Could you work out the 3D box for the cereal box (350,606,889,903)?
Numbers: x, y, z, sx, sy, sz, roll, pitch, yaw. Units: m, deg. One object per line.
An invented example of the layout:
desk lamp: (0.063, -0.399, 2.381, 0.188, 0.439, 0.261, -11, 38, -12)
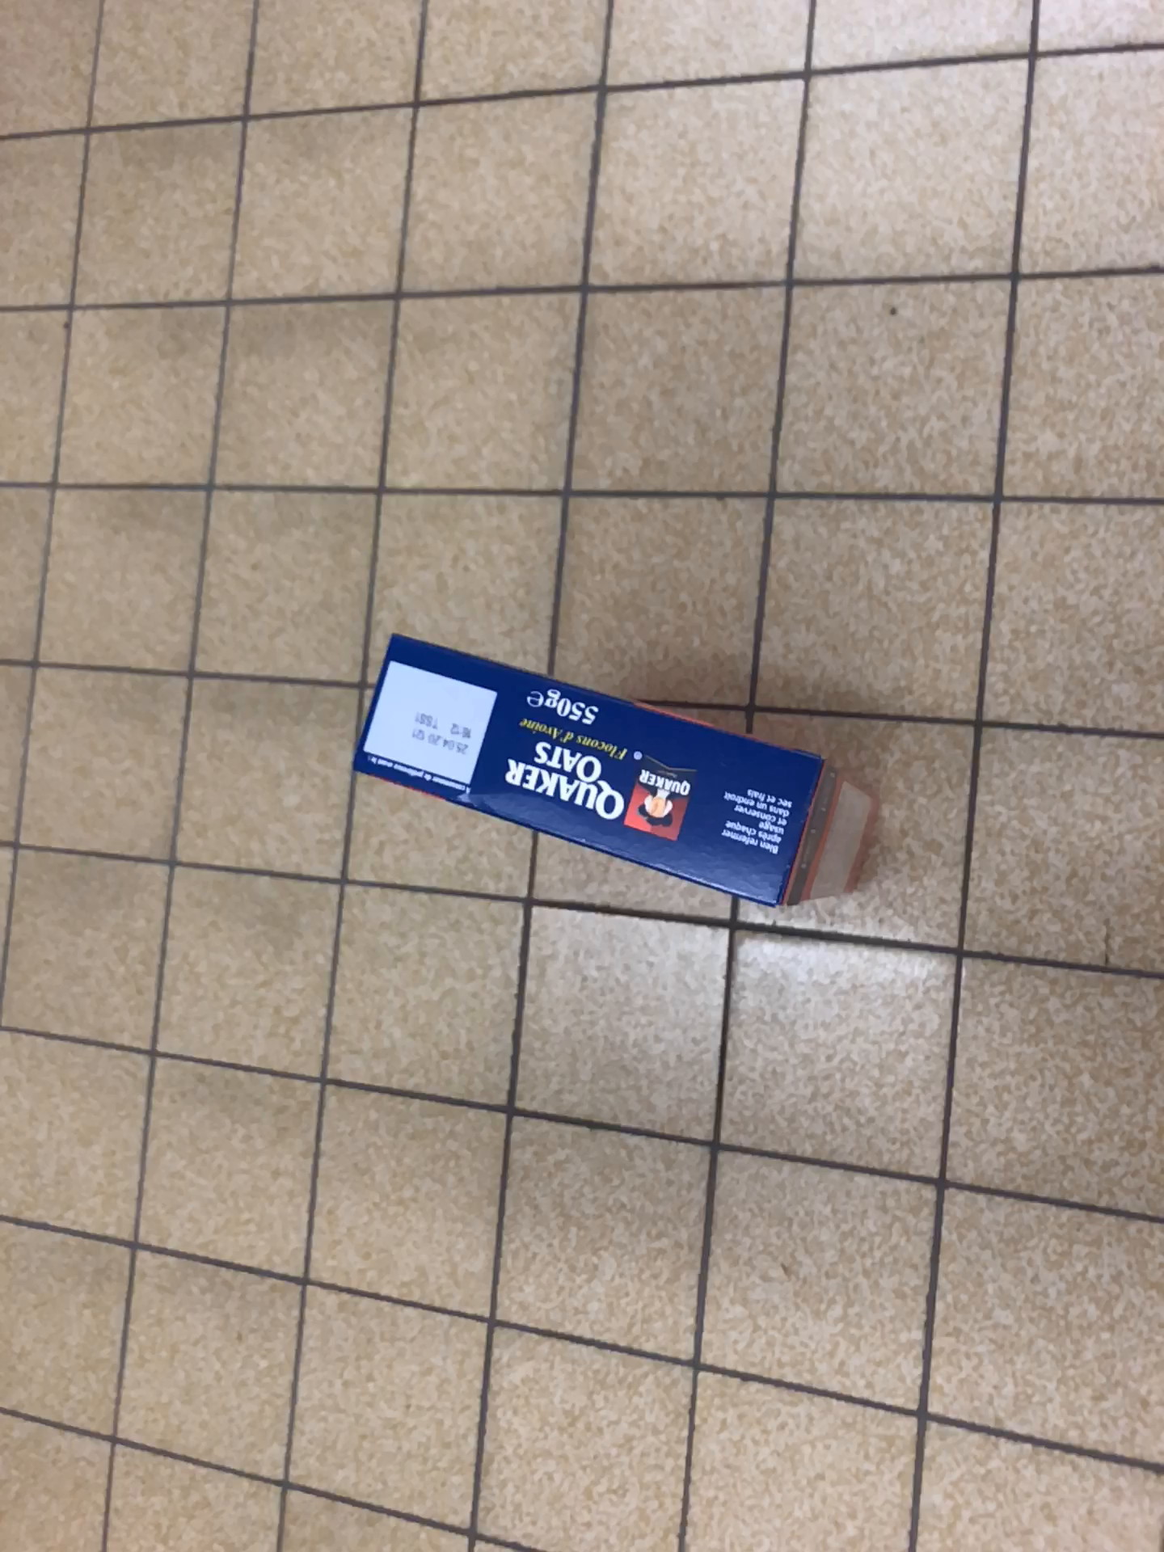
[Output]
cereal box: (0.033, -0.002, 0.488, 0.140, 0.230, 0.050, 17, 92, 17)
